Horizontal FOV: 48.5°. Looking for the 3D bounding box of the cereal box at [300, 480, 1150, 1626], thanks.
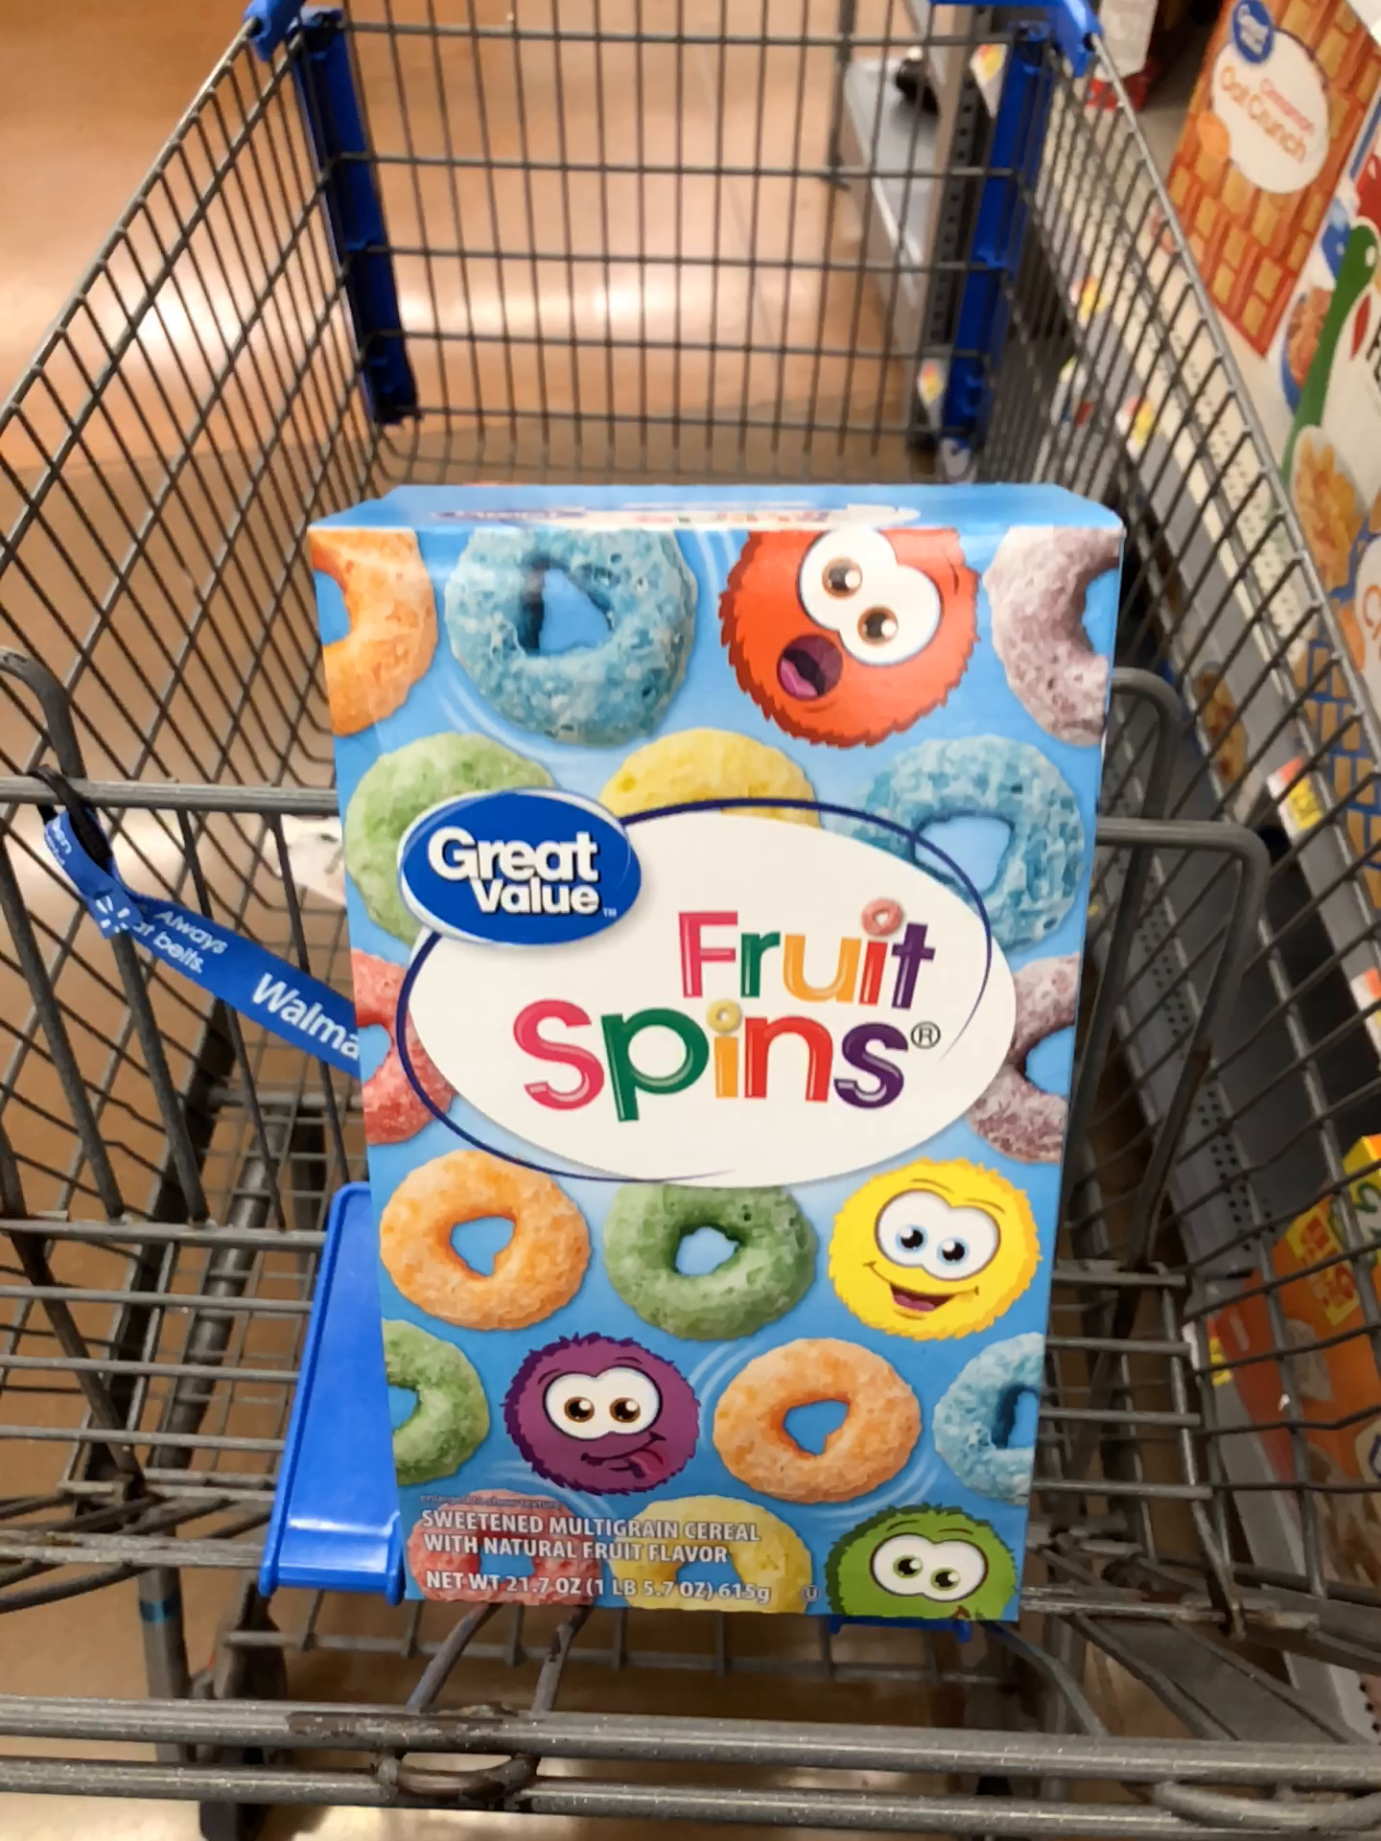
[{"bbox_3d":[0.008,0.047,0.466,0.200,0.340,0.090,1,22,2],"label":"cereal box"}]
